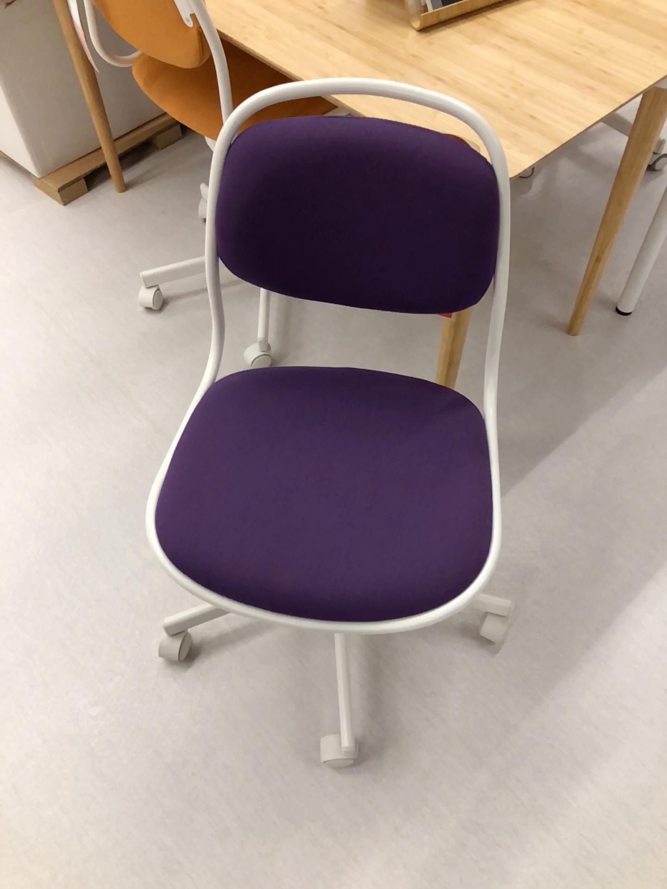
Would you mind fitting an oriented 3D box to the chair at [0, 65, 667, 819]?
[{"bbox_3d":[0.014,0.043,1.037,0.620,0.776,0.663,8,55,7],"label":"chair"}]
